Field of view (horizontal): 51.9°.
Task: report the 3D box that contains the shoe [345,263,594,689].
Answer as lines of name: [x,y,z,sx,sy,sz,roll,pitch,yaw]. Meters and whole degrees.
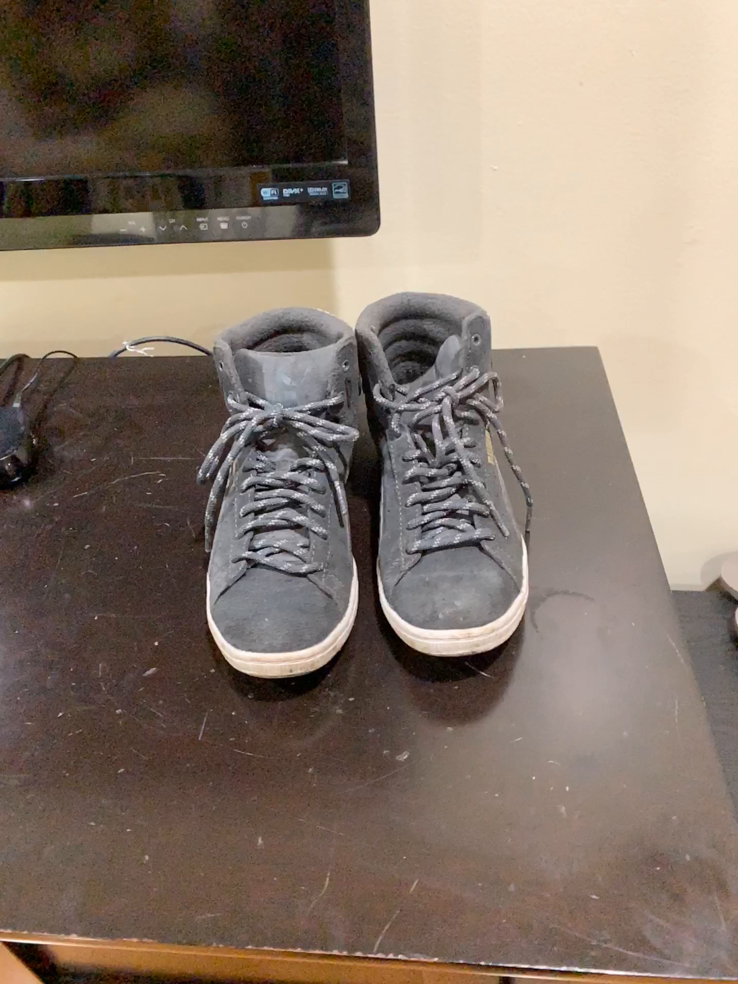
shoe: [0.045,-0.027,0.470,0.097,0.124,0.254,-5,40,-1]

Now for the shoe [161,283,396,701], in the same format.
shoe: [-0.049,-0.019,0.470,0.100,0.107,0.263,-6,40,-1]
